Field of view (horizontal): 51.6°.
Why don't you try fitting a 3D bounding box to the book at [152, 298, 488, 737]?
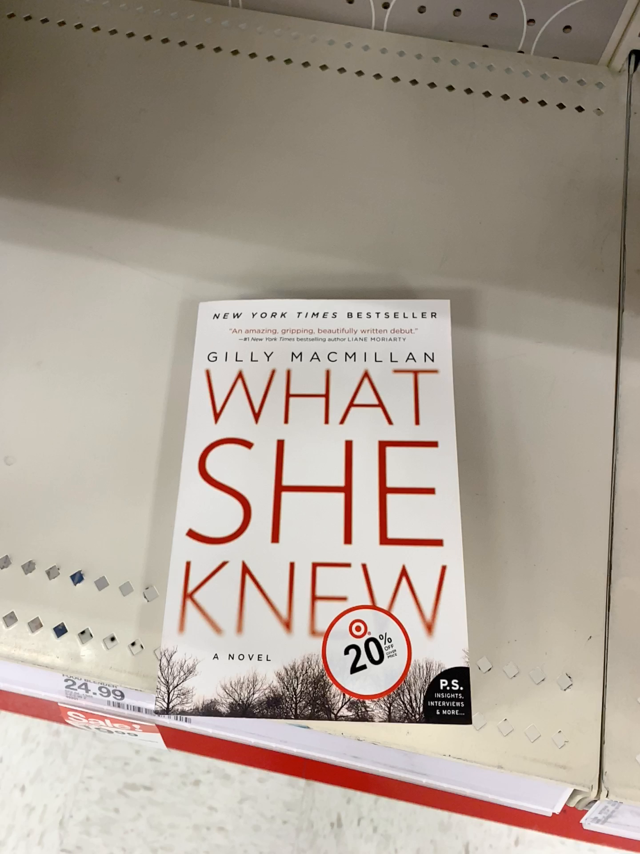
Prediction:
[{"bbox_3d":[0.003,0.035,0.313,0.130,0.041,0.197,1,67,3],"label":"book"}]
